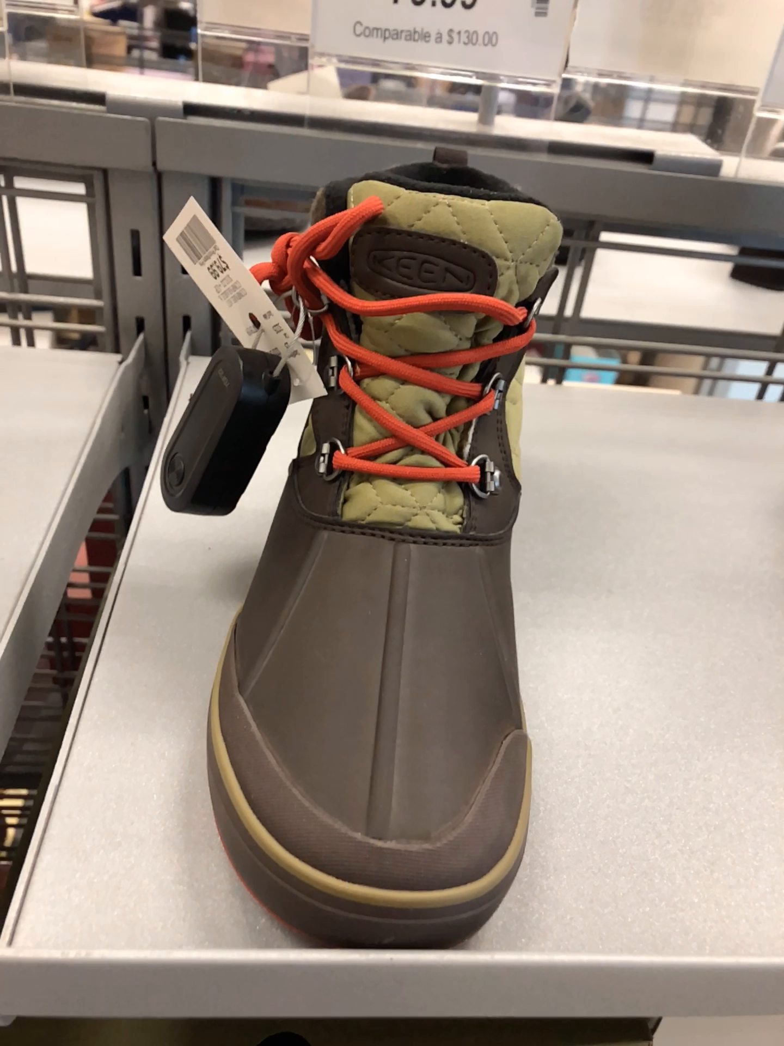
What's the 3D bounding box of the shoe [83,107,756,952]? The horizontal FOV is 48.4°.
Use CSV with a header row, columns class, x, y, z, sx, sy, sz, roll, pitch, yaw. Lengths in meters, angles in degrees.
class,x,y,z,sx,sy,sz,roll,pitch,yaw
shoe,-0.006,-0.028,0.283,0.107,0.139,0.262,5,35,-5
